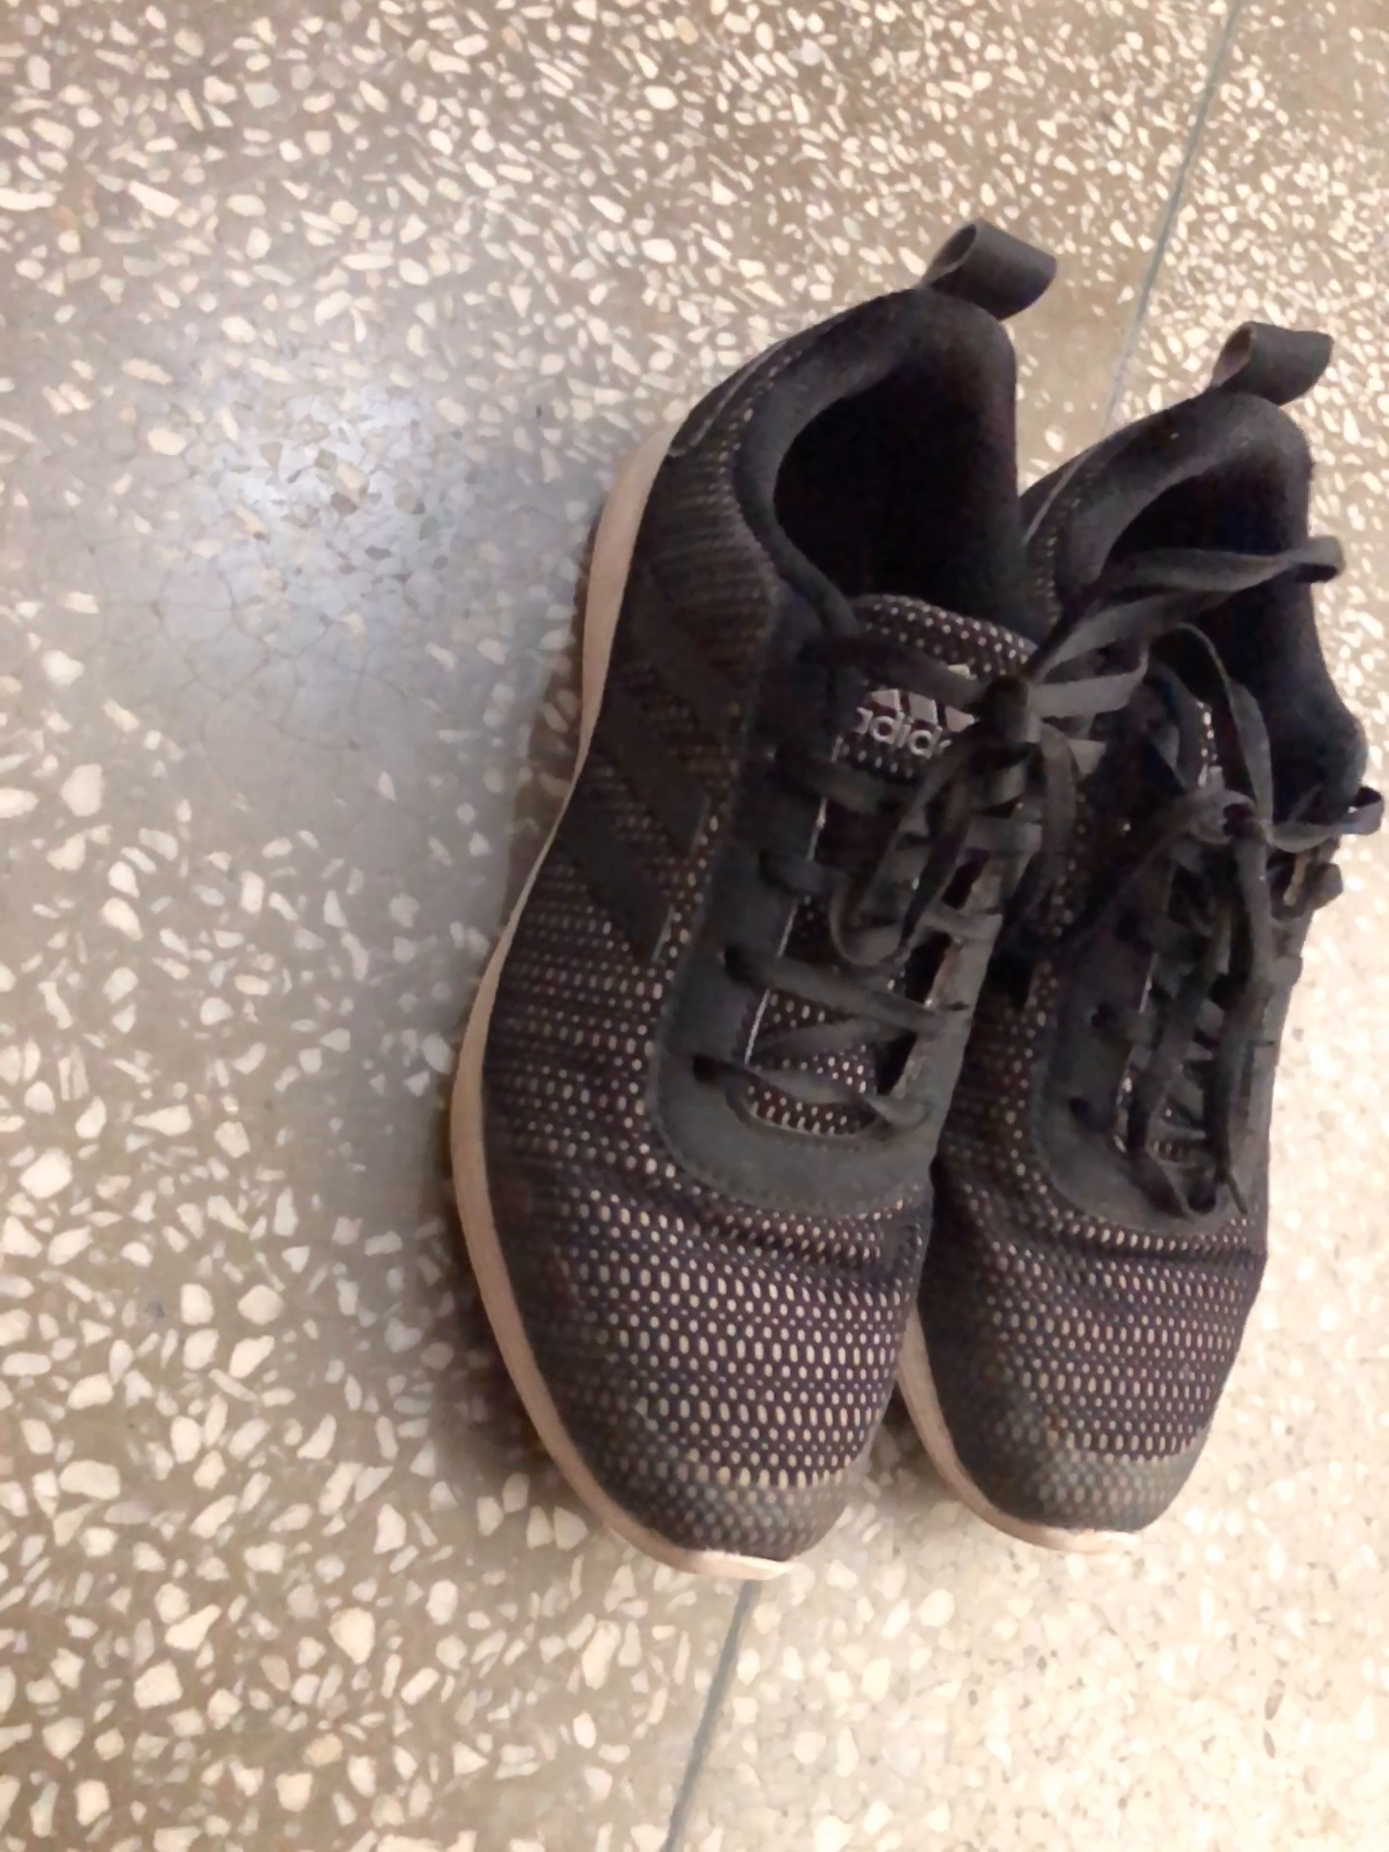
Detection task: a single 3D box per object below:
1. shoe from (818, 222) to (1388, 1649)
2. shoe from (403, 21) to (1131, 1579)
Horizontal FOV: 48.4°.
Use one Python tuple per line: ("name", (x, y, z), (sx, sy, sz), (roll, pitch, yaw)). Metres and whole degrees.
("shoe", (0.101, 0.000, 0.334), (0.100, 0.080, 0.270), (15, 68, -23))
("shoe", (0.020, -0.025, 0.313), (0.100, 0.080, 0.280), (13, 69, -24))
